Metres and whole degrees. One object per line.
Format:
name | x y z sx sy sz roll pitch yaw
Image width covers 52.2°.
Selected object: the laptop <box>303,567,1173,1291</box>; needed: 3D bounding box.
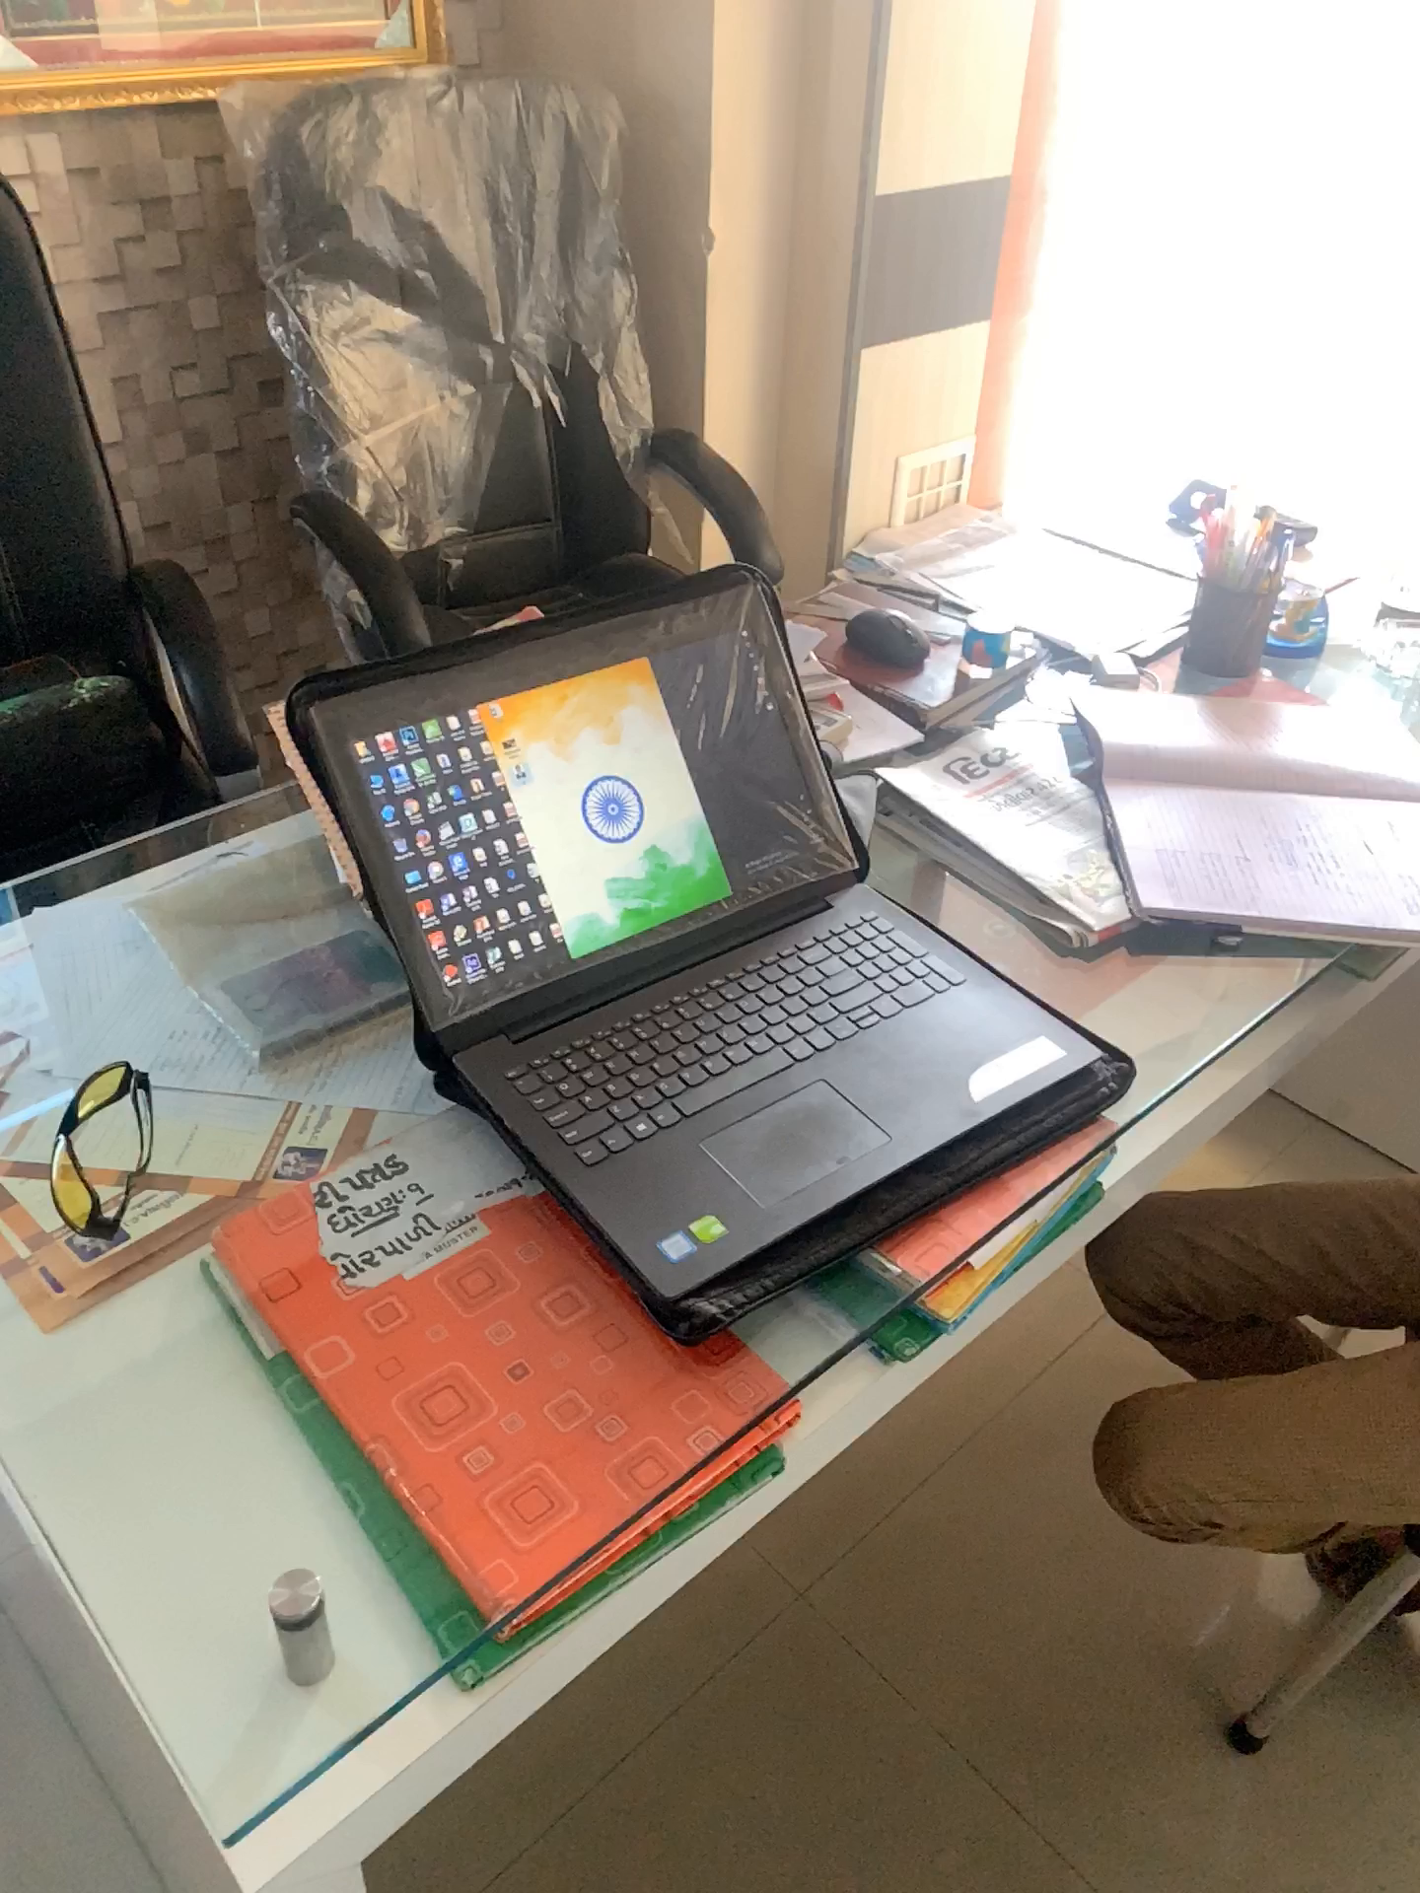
laptop | 0.000 -0.049 0.892 0.334 0.175 0.391 -22 43 -29
